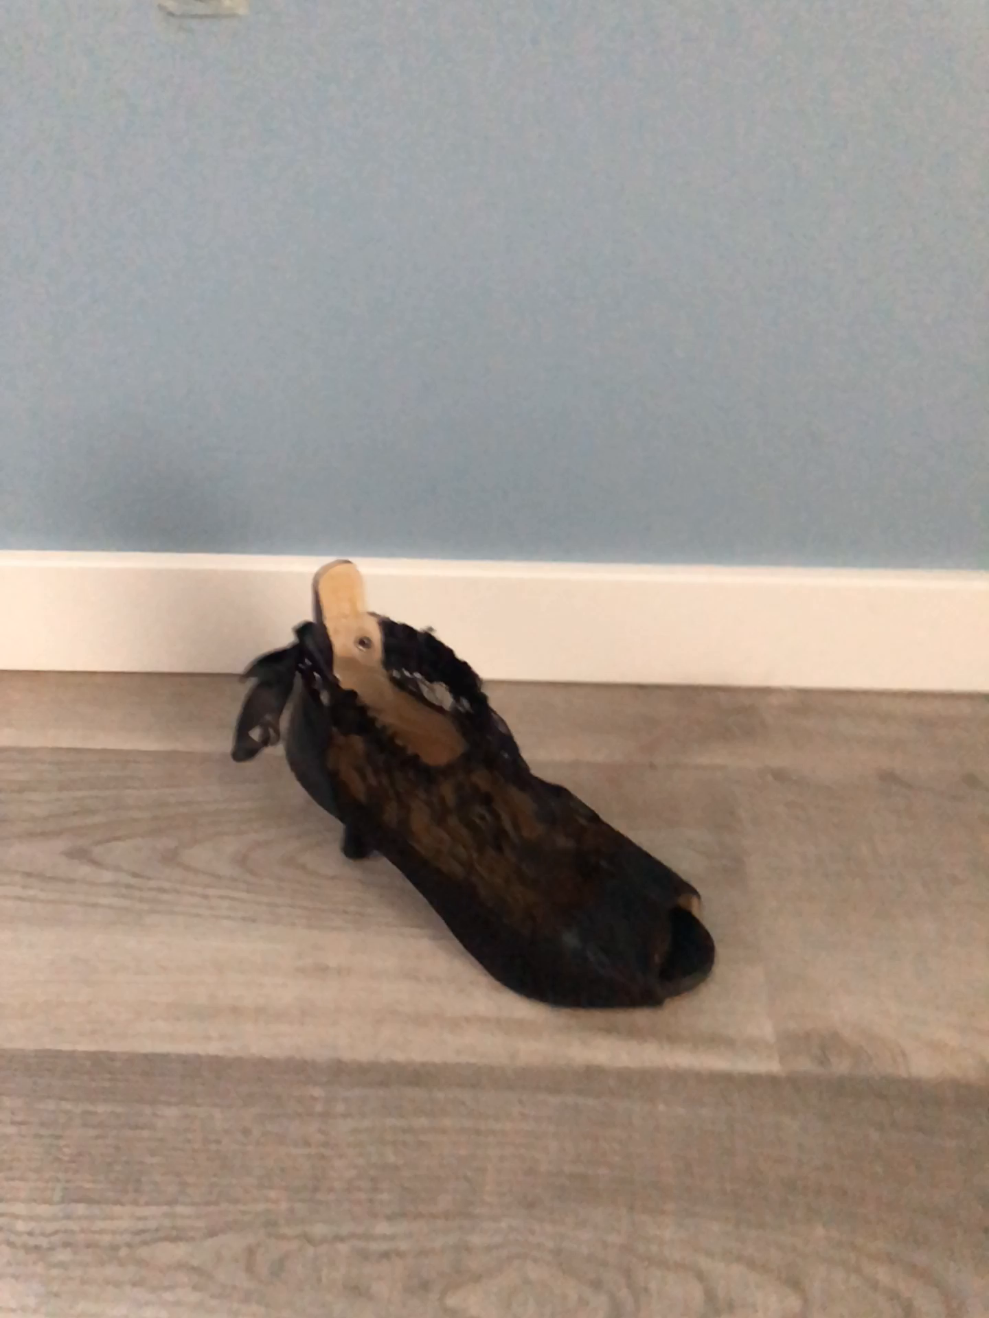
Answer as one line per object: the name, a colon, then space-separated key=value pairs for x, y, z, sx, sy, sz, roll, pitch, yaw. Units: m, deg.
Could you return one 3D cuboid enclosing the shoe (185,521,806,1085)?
shoe: x=-0.002 y=0.055 z=0.469 sx=0.220 sy=0.140 sz=0.100 roll=21 pitch=47 yaw=22
